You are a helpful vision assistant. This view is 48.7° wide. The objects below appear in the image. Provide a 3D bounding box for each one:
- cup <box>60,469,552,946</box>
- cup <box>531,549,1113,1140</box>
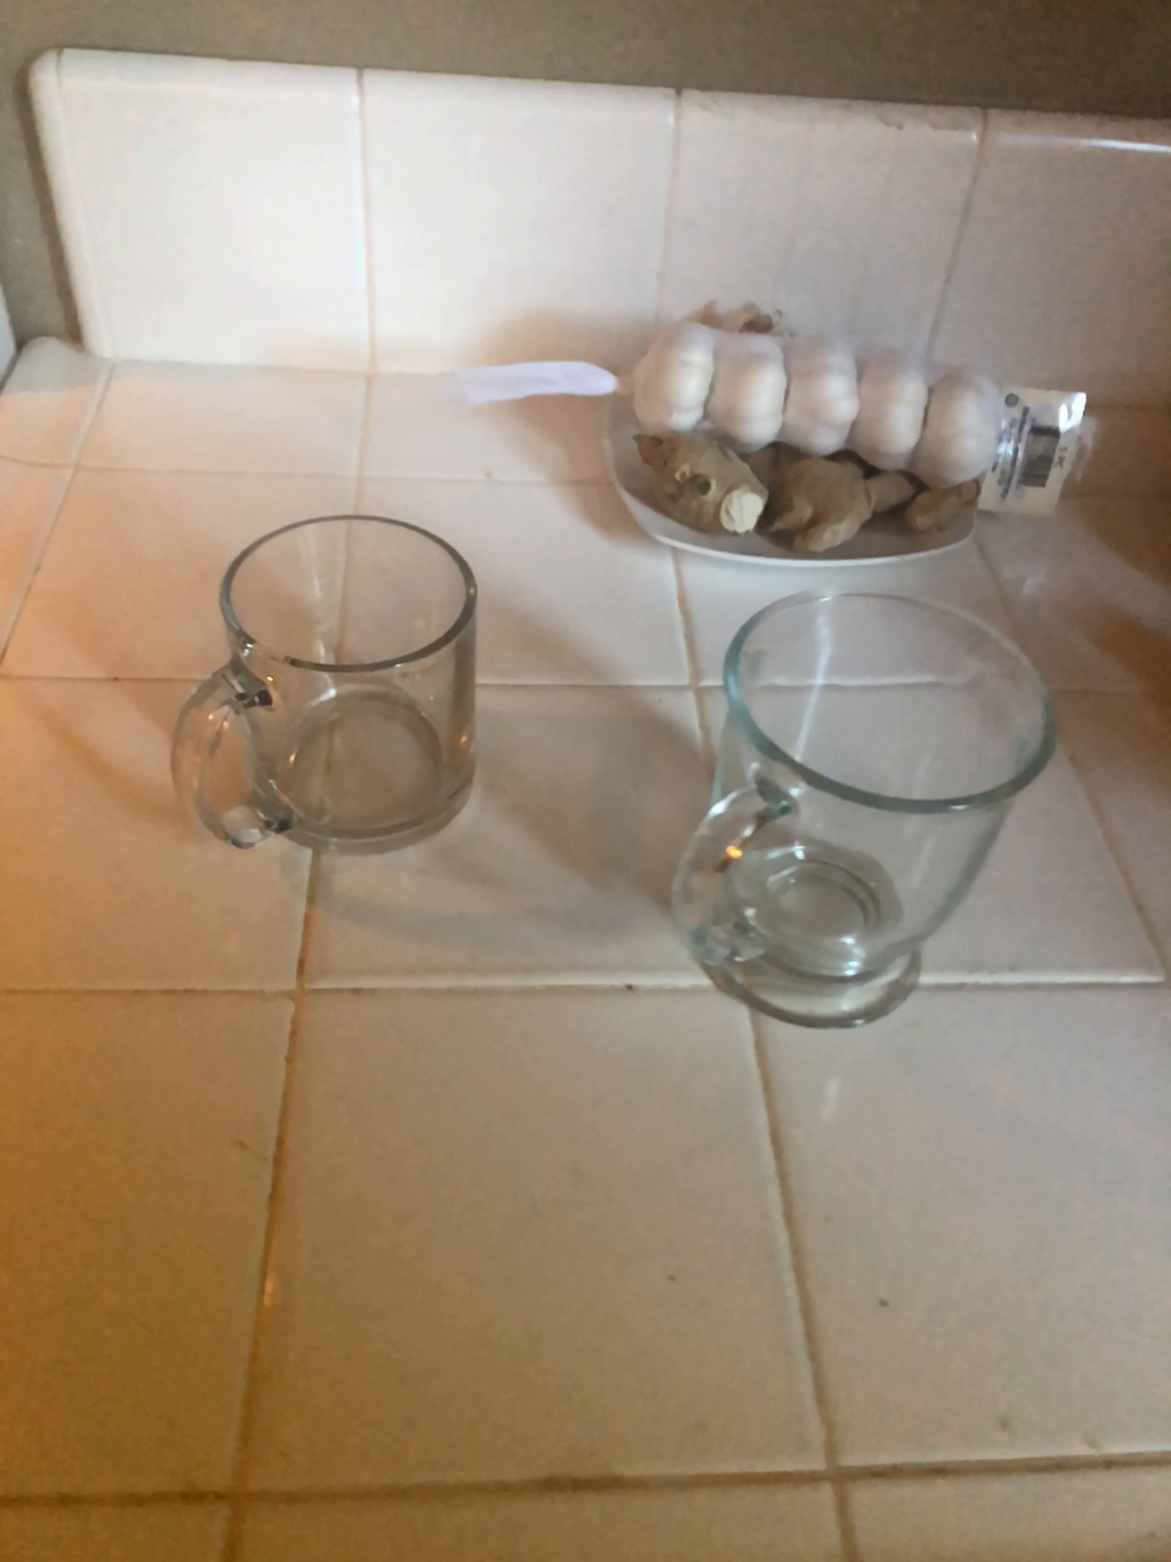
[{"bbox_3d":[-0.093,-0.030,0.456,0.131,0.089,0.090,-30,56,-29],"label":"cup"},{"bbox_3d":[0.064,0.018,0.404,0.131,0.119,0.090,-21,52,-24],"label":"cup"}]
